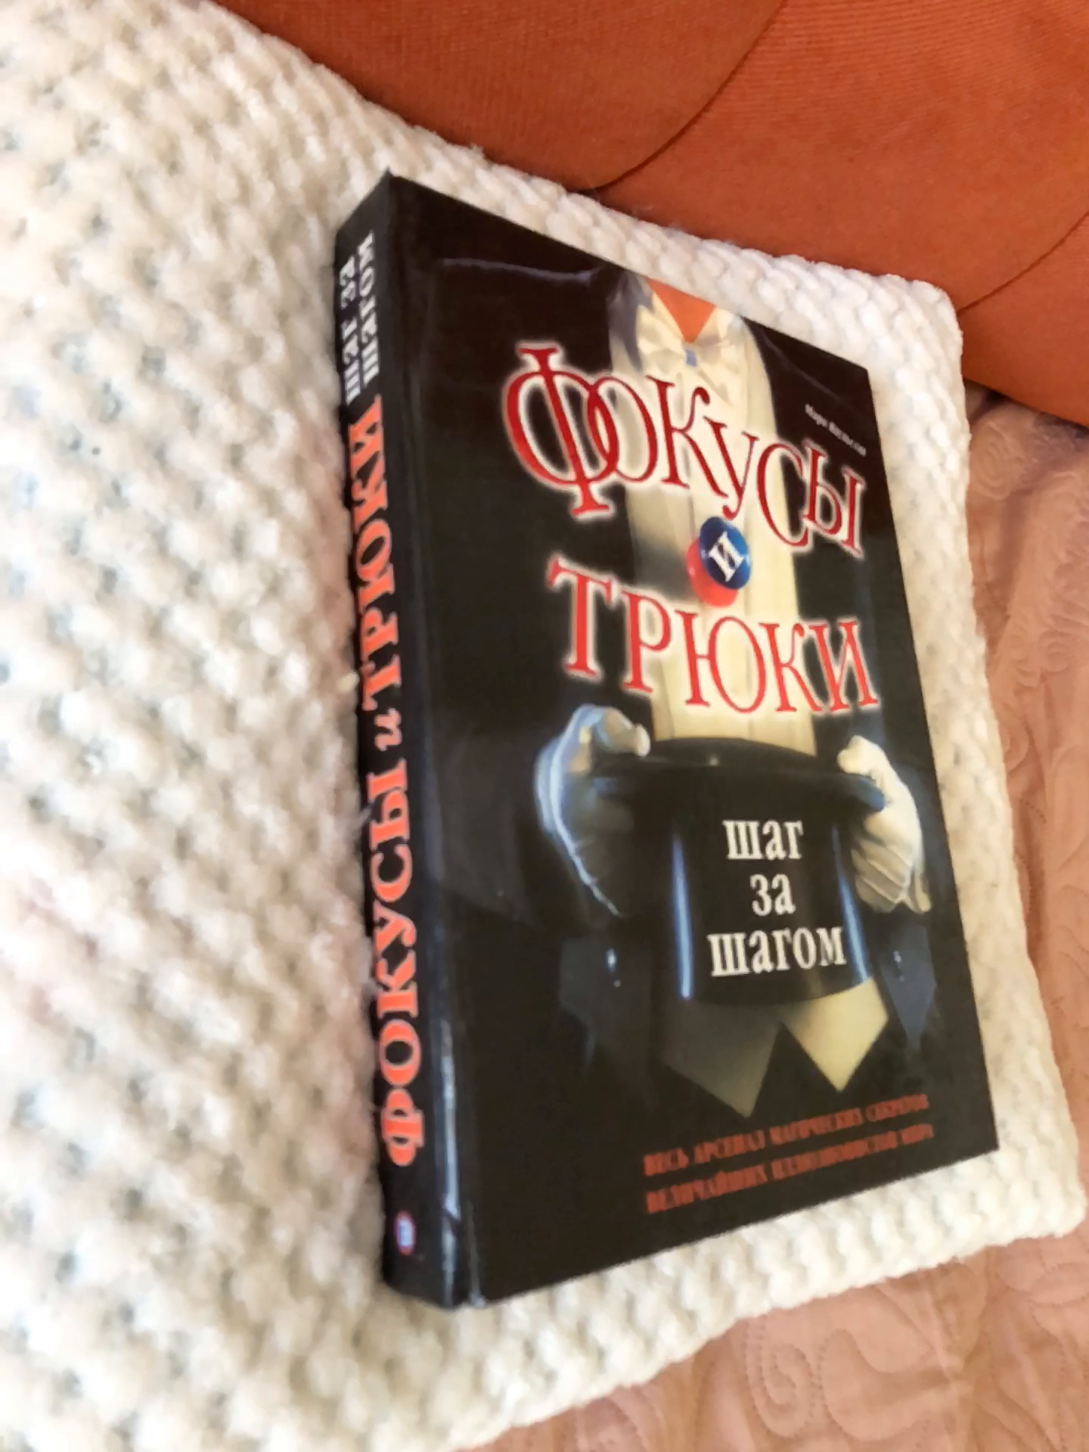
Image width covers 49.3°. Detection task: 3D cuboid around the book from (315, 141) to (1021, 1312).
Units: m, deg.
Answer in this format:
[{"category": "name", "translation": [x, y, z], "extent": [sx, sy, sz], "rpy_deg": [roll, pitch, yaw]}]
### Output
[{"category": "book", "translation": [0.041, -0.004, 0.343], "extent": [0.201, 0.040, 0.270], "rpy_deg": [5, 73, -39]}]
